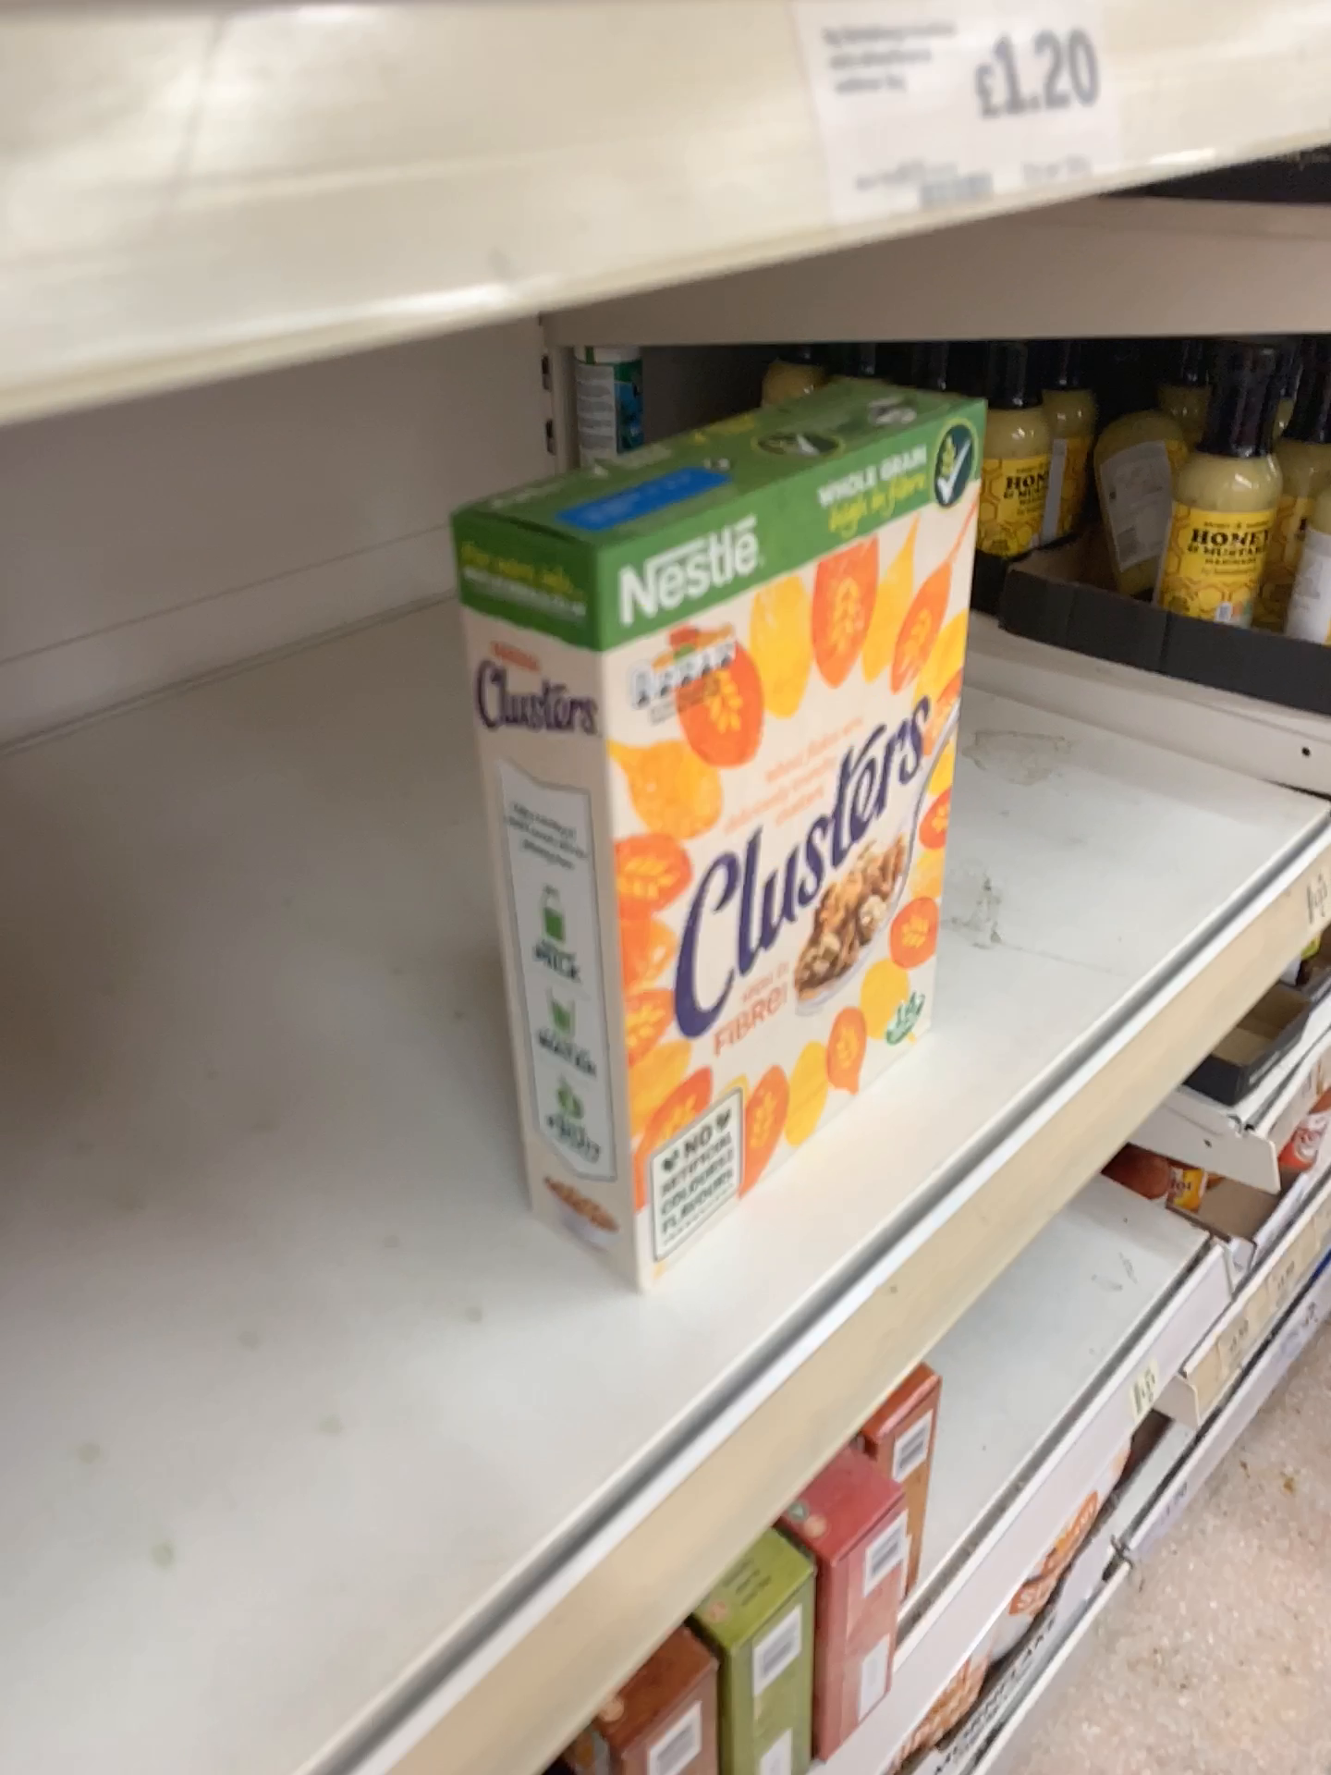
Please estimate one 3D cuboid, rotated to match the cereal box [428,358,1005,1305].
[{"bbox_3d":[0.030,-0.023,0.472,0.060,0.267,0.201,23,40,34],"label":"cereal box"}]
